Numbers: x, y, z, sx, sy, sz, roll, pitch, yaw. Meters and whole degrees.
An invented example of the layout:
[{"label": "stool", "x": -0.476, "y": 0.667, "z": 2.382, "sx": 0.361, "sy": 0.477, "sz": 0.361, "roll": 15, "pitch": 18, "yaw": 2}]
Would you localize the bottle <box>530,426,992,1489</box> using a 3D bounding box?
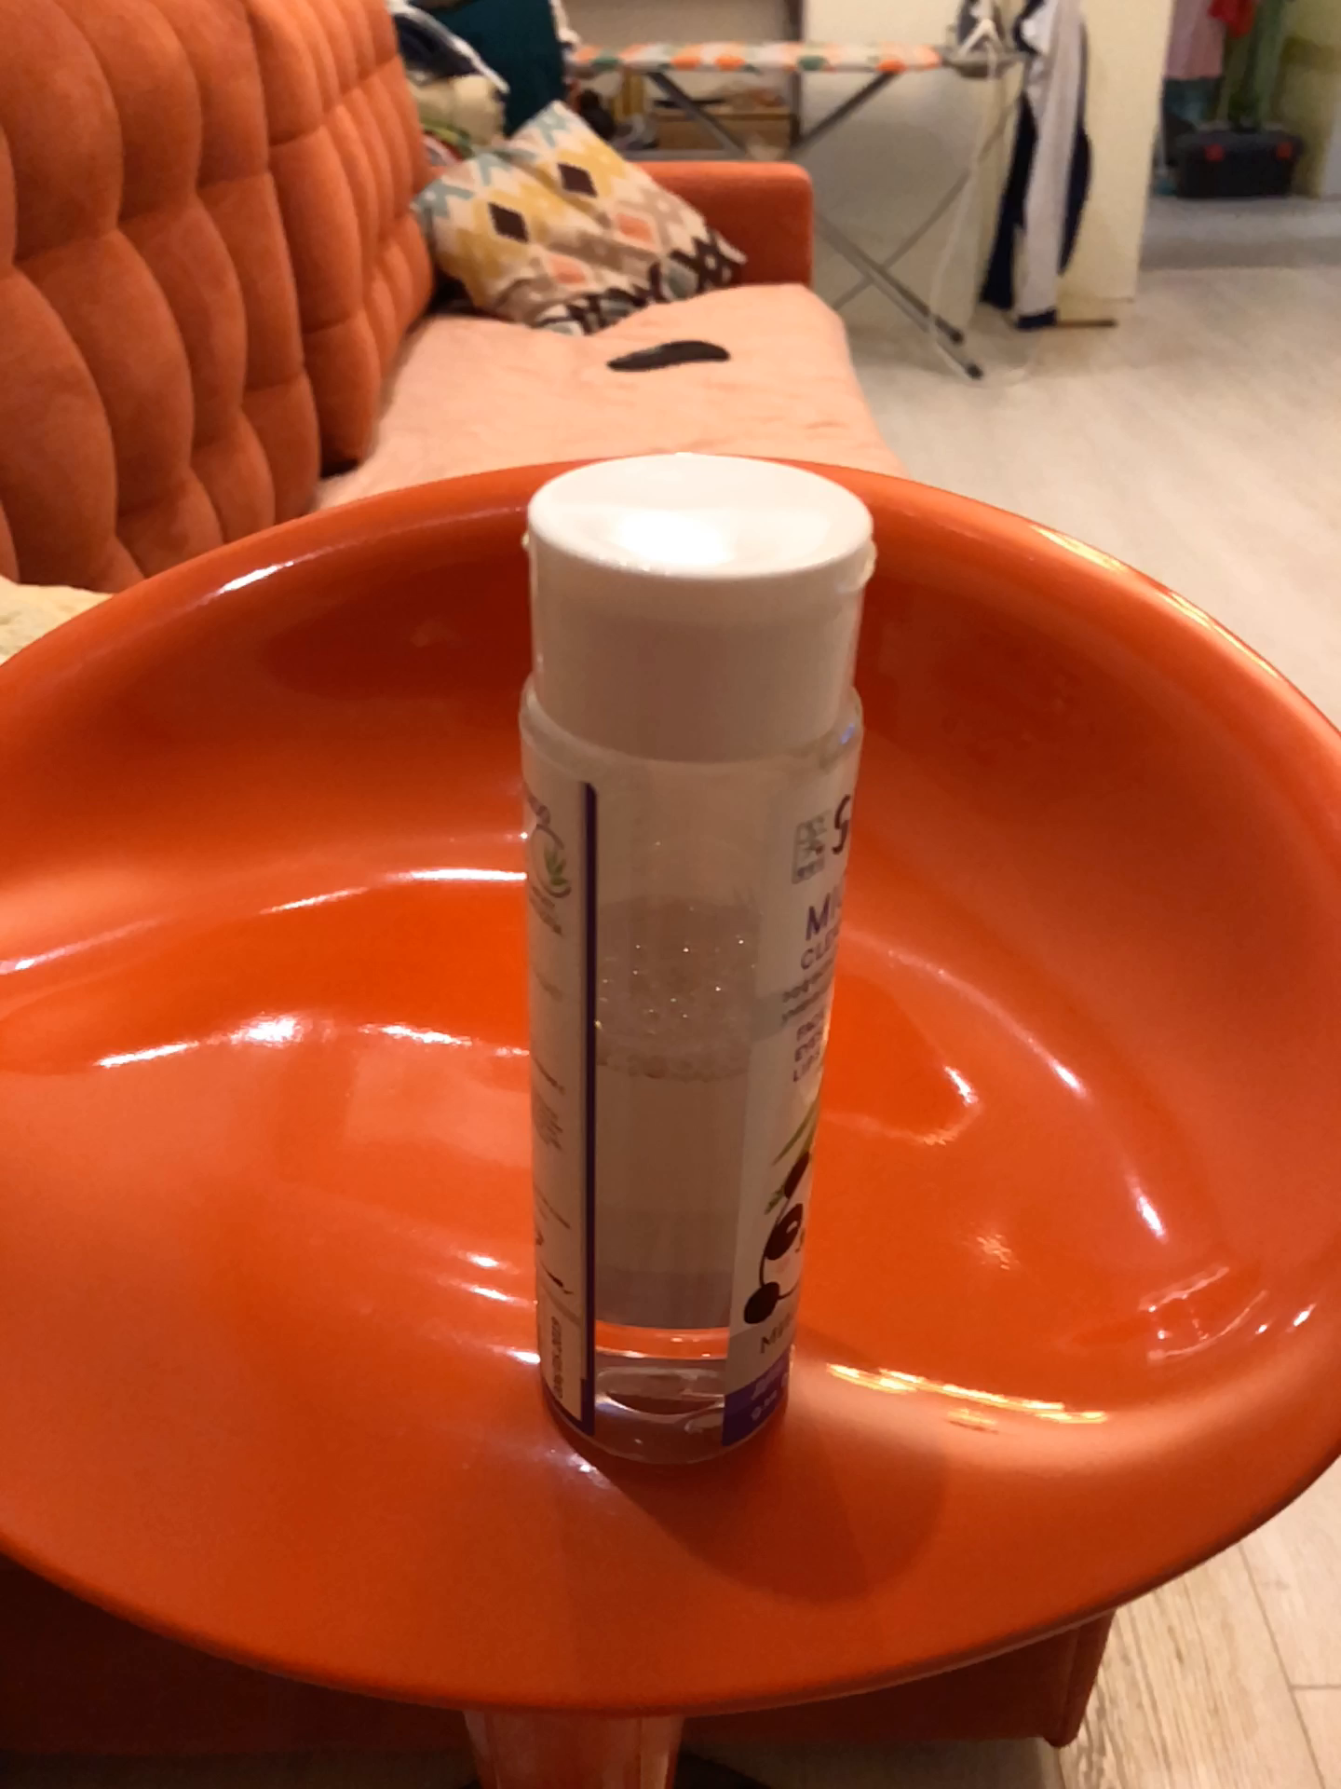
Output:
[{"label": "bottle", "x": 0.006, "y": 0.016, "z": 0.238, "sx": 0.052, "sy": 0.166, "sz": 0.054, "roll": 2, "pitch": 32, "yaw": -1}]
